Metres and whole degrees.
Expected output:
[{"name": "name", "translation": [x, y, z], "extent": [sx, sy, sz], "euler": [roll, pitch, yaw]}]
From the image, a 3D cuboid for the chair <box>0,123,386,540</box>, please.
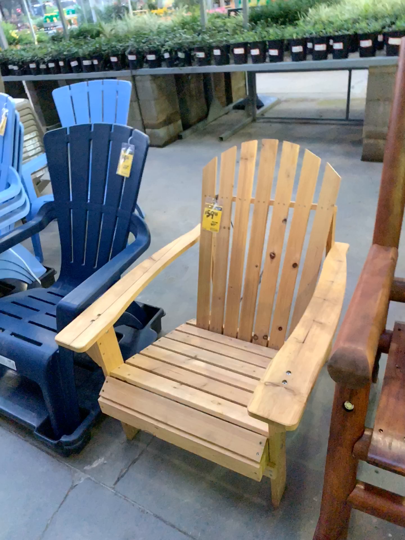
[{"name": "chair", "translation": [0.093, 0.102, 1.372], "extent": [0.729, 0.886, 0.894], "euler": [11, 39, 27]}]
